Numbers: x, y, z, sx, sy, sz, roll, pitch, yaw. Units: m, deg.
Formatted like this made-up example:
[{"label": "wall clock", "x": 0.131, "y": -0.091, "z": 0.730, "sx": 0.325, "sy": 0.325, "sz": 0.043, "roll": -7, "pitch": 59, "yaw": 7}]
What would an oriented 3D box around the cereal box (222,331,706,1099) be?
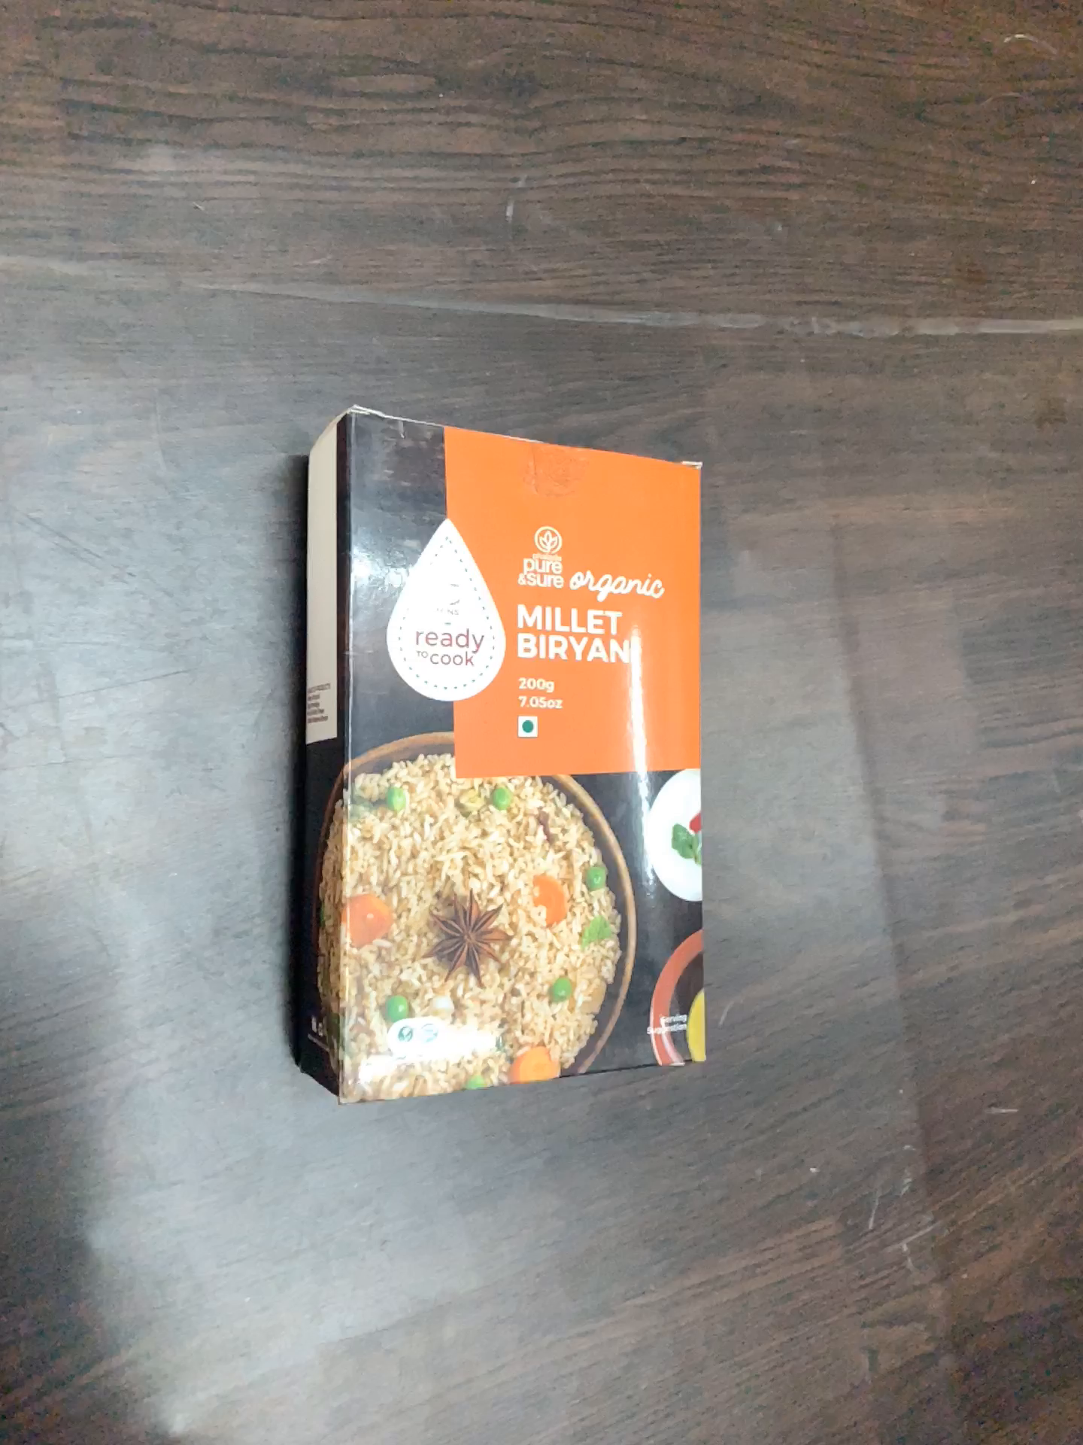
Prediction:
[{"label": "cereal box", "x": -0.020, "y": -0.003, "z": 0.296, "sx": 0.110, "sy": 0.050, "sz": 0.170, "roll": -2, "pitch": 89, "yaw": -29}]
